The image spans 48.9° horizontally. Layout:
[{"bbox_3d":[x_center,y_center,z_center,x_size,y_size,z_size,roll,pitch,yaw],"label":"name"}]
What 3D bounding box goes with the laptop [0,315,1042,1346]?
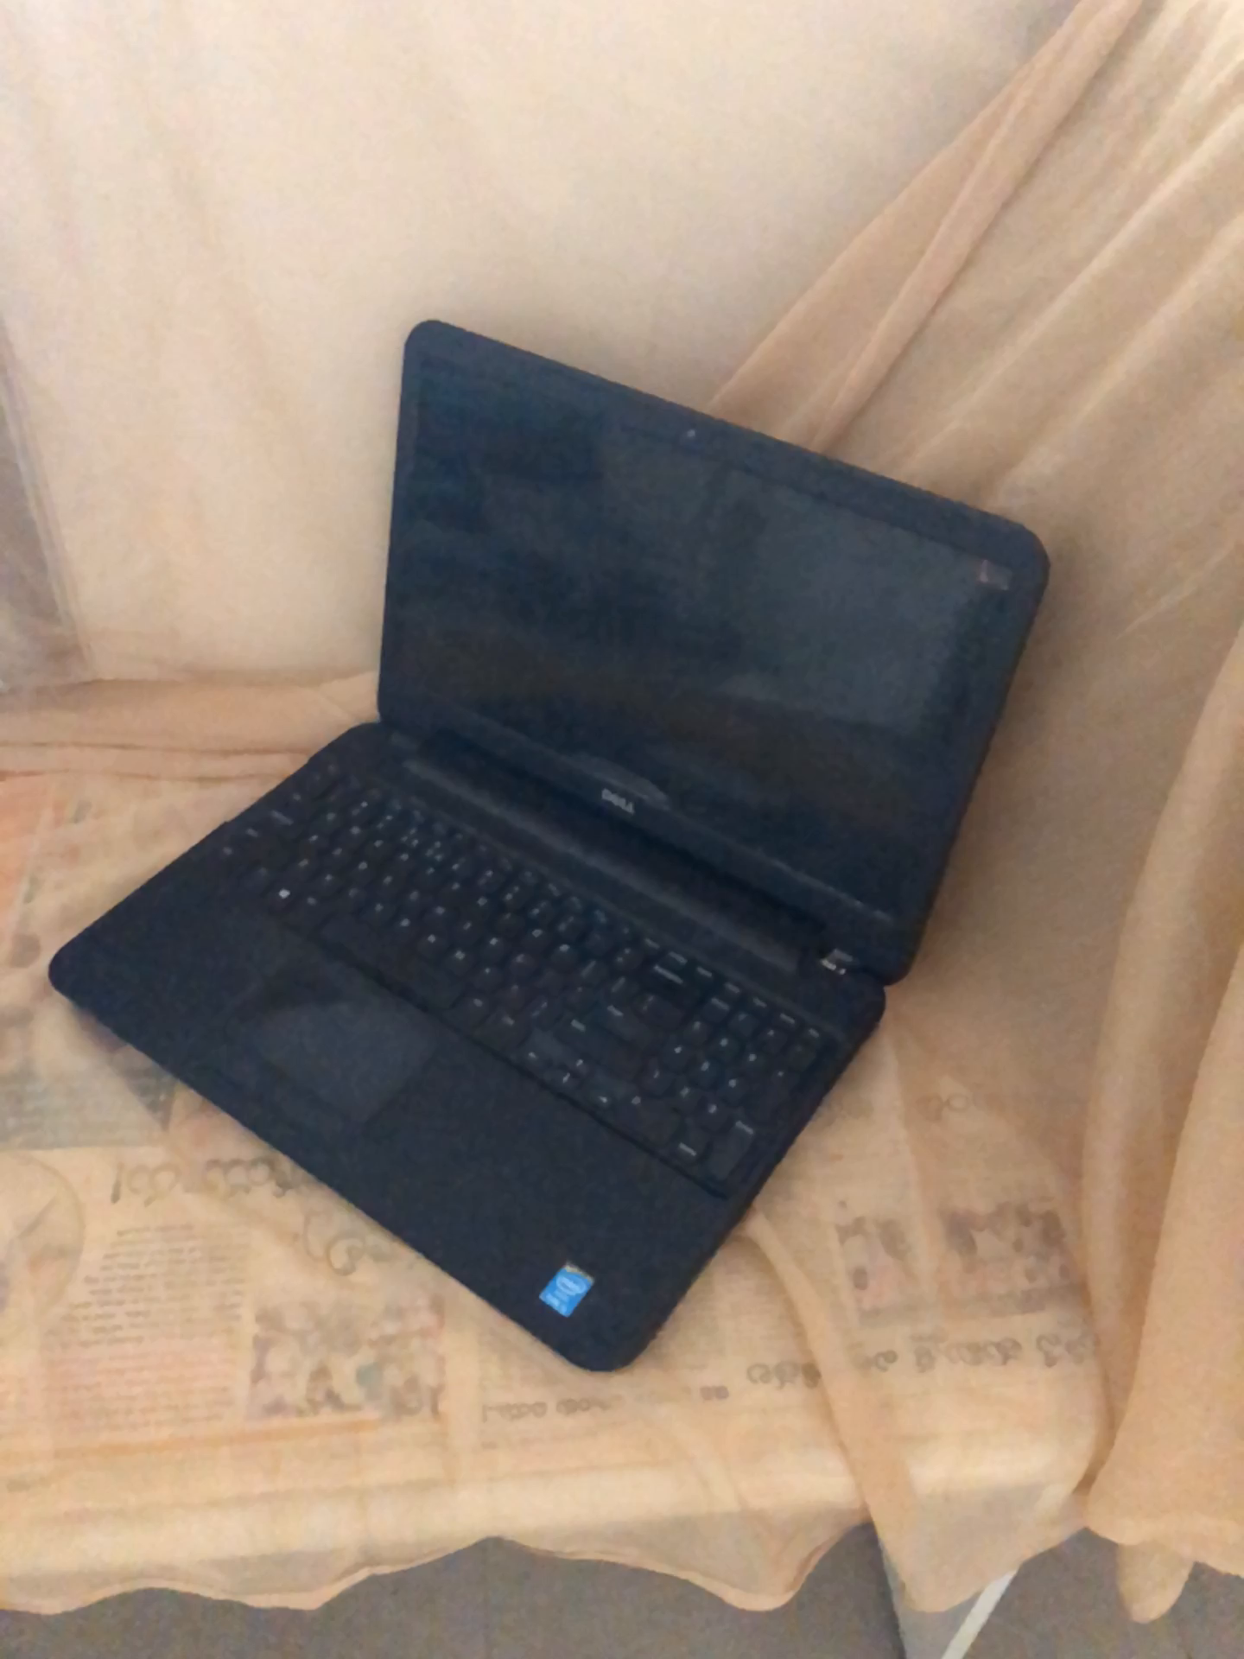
[{"bbox_3d":[-0.054,-0.032,0.646,0.349,0.225,0.307,27,49,24],"label":"laptop"}]
